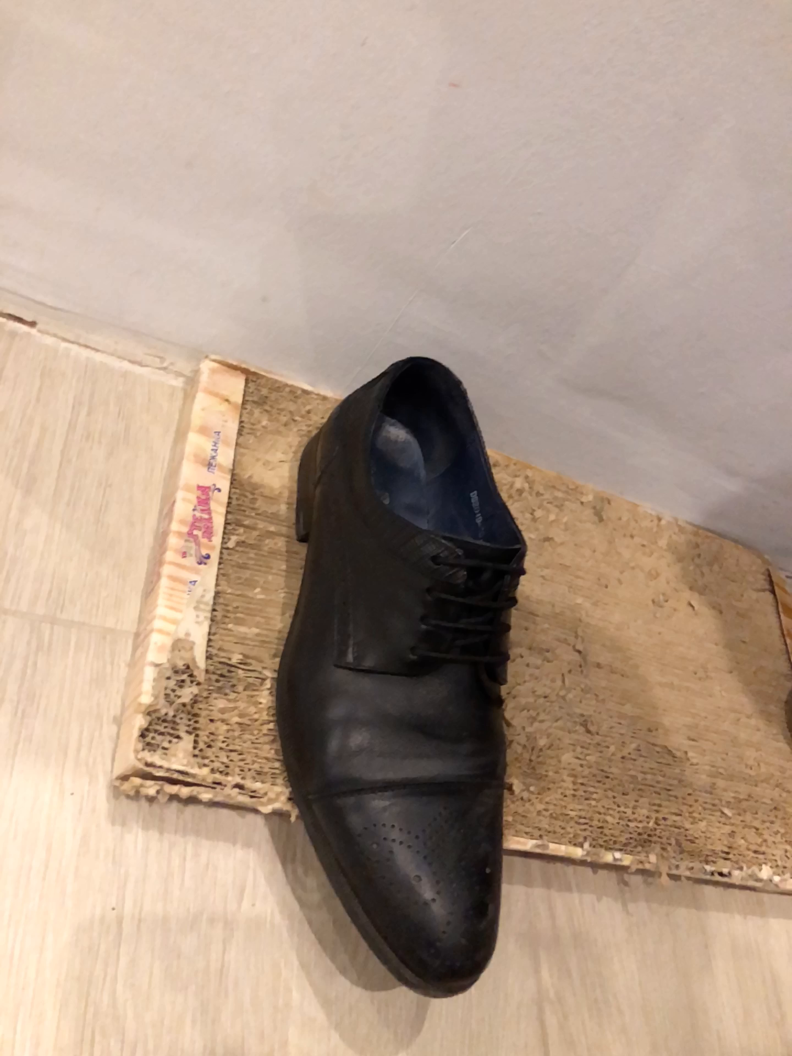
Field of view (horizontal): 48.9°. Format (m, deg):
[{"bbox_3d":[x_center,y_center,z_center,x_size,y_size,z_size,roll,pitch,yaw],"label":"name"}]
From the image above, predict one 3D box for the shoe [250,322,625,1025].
[{"bbox_3d":[0.002,0.056,0.396,0.090,0.099,0.281,9,57,-29],"label":"shoe"}]
